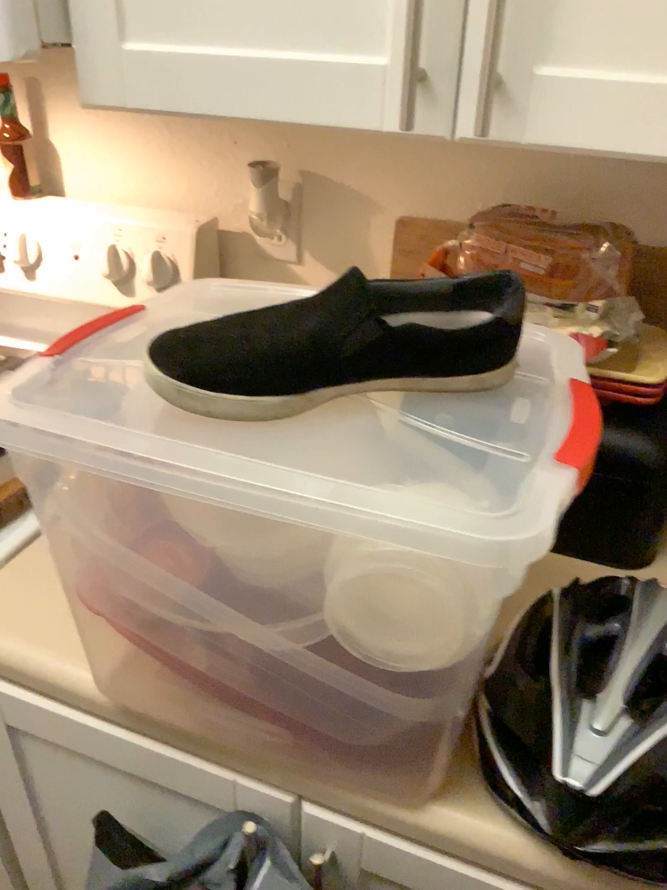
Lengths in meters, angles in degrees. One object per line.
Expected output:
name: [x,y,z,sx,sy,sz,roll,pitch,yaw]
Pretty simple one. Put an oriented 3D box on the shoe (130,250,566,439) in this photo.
shoe: [0.007,-0.076,0.509,0.270,0.070,0.100,-8,33,-15]
